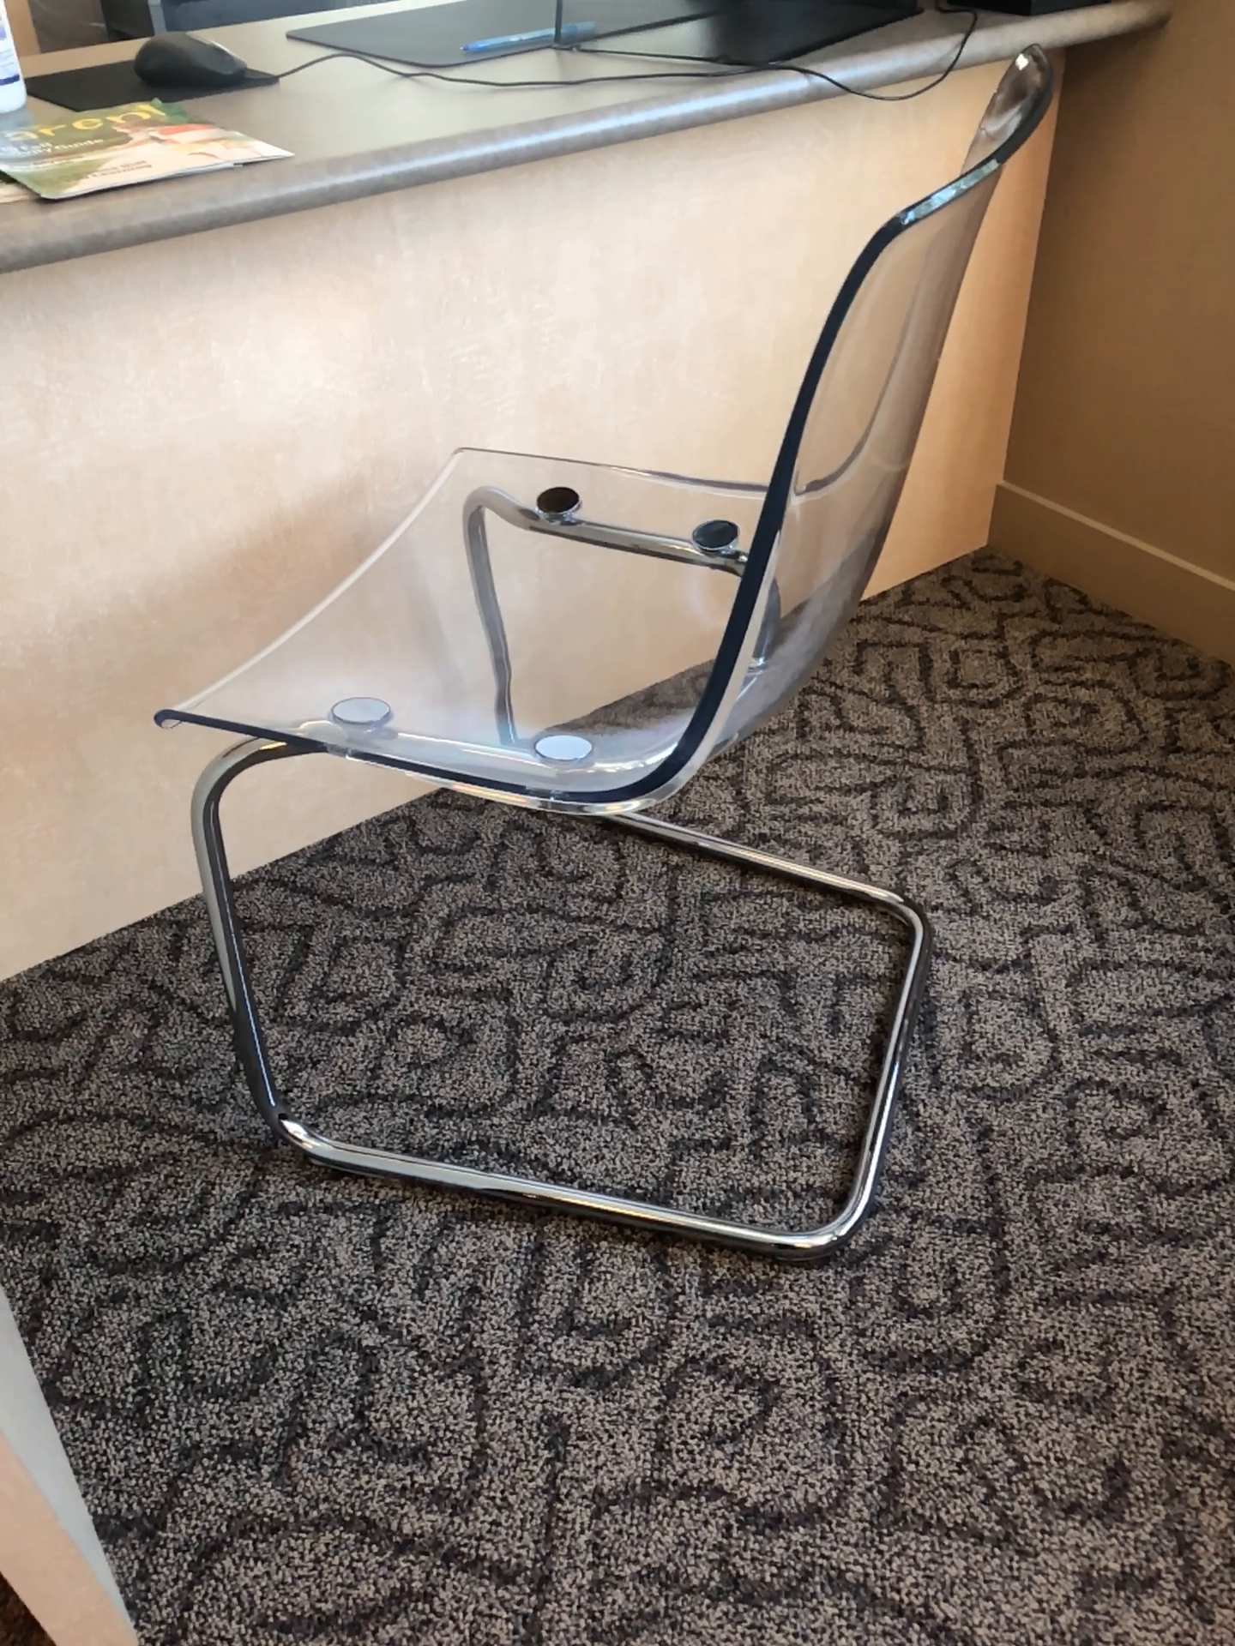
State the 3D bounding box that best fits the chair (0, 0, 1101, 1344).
[{"bbox_3d":[-0.039,-0.158,1.090,0.641,0.804,0.603,11,40,16],"label":"chair"}]
